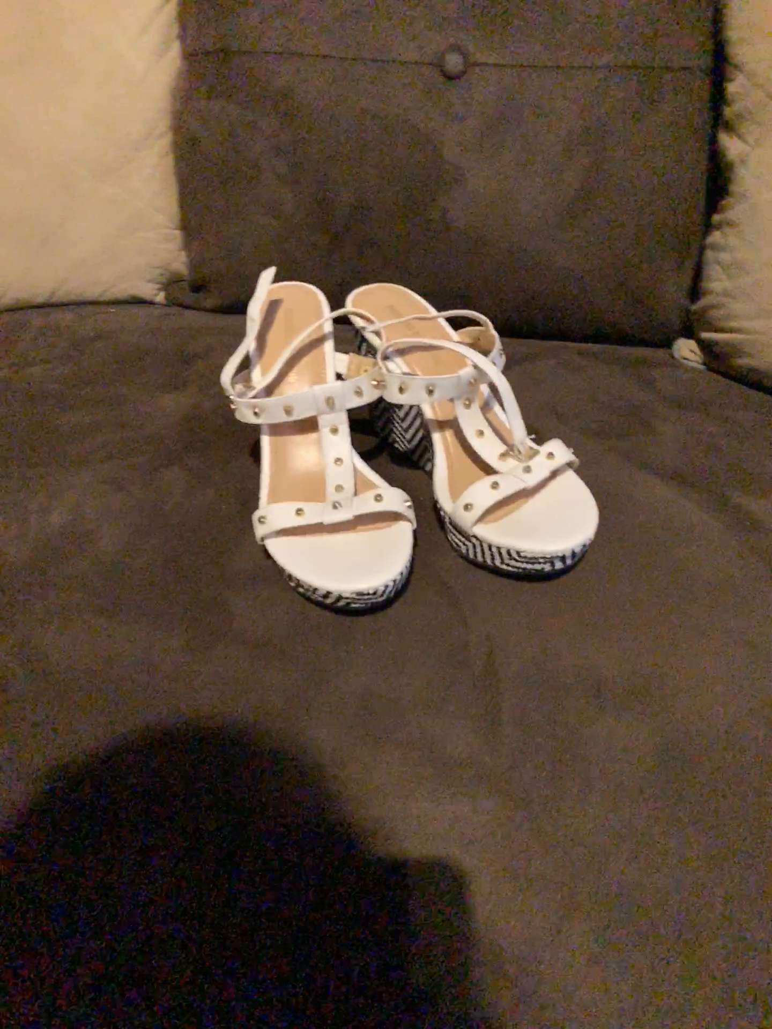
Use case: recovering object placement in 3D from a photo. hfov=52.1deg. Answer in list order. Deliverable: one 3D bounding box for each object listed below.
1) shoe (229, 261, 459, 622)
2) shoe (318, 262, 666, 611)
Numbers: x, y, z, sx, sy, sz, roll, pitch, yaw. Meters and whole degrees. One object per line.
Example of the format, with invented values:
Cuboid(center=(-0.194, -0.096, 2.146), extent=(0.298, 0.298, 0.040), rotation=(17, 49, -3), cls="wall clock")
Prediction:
Cuboid(center=(-0.042, -0.065, 0.524), extent=(0.110, 0.099, 0.261), rotation=(-4, 42, -10), cls="shoe")
Cuboid(center=(0.050, -0.068, 0.532), extent=(0.100, 0.099, 0.251), rotation=(-16, 43, -23), cls="shoe")
